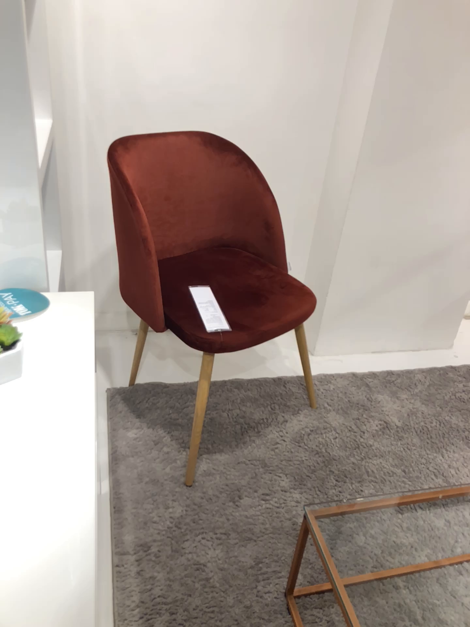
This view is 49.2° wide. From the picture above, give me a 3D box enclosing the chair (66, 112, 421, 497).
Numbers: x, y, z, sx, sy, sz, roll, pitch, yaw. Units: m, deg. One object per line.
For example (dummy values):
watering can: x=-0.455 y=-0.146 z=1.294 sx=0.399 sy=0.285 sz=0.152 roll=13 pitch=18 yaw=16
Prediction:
chair: x=-0.019 y=-0.099 z=1.438 sx=0.652 sy=0.734 sz=0.593 roll=31 pitch=37 yaw=34
